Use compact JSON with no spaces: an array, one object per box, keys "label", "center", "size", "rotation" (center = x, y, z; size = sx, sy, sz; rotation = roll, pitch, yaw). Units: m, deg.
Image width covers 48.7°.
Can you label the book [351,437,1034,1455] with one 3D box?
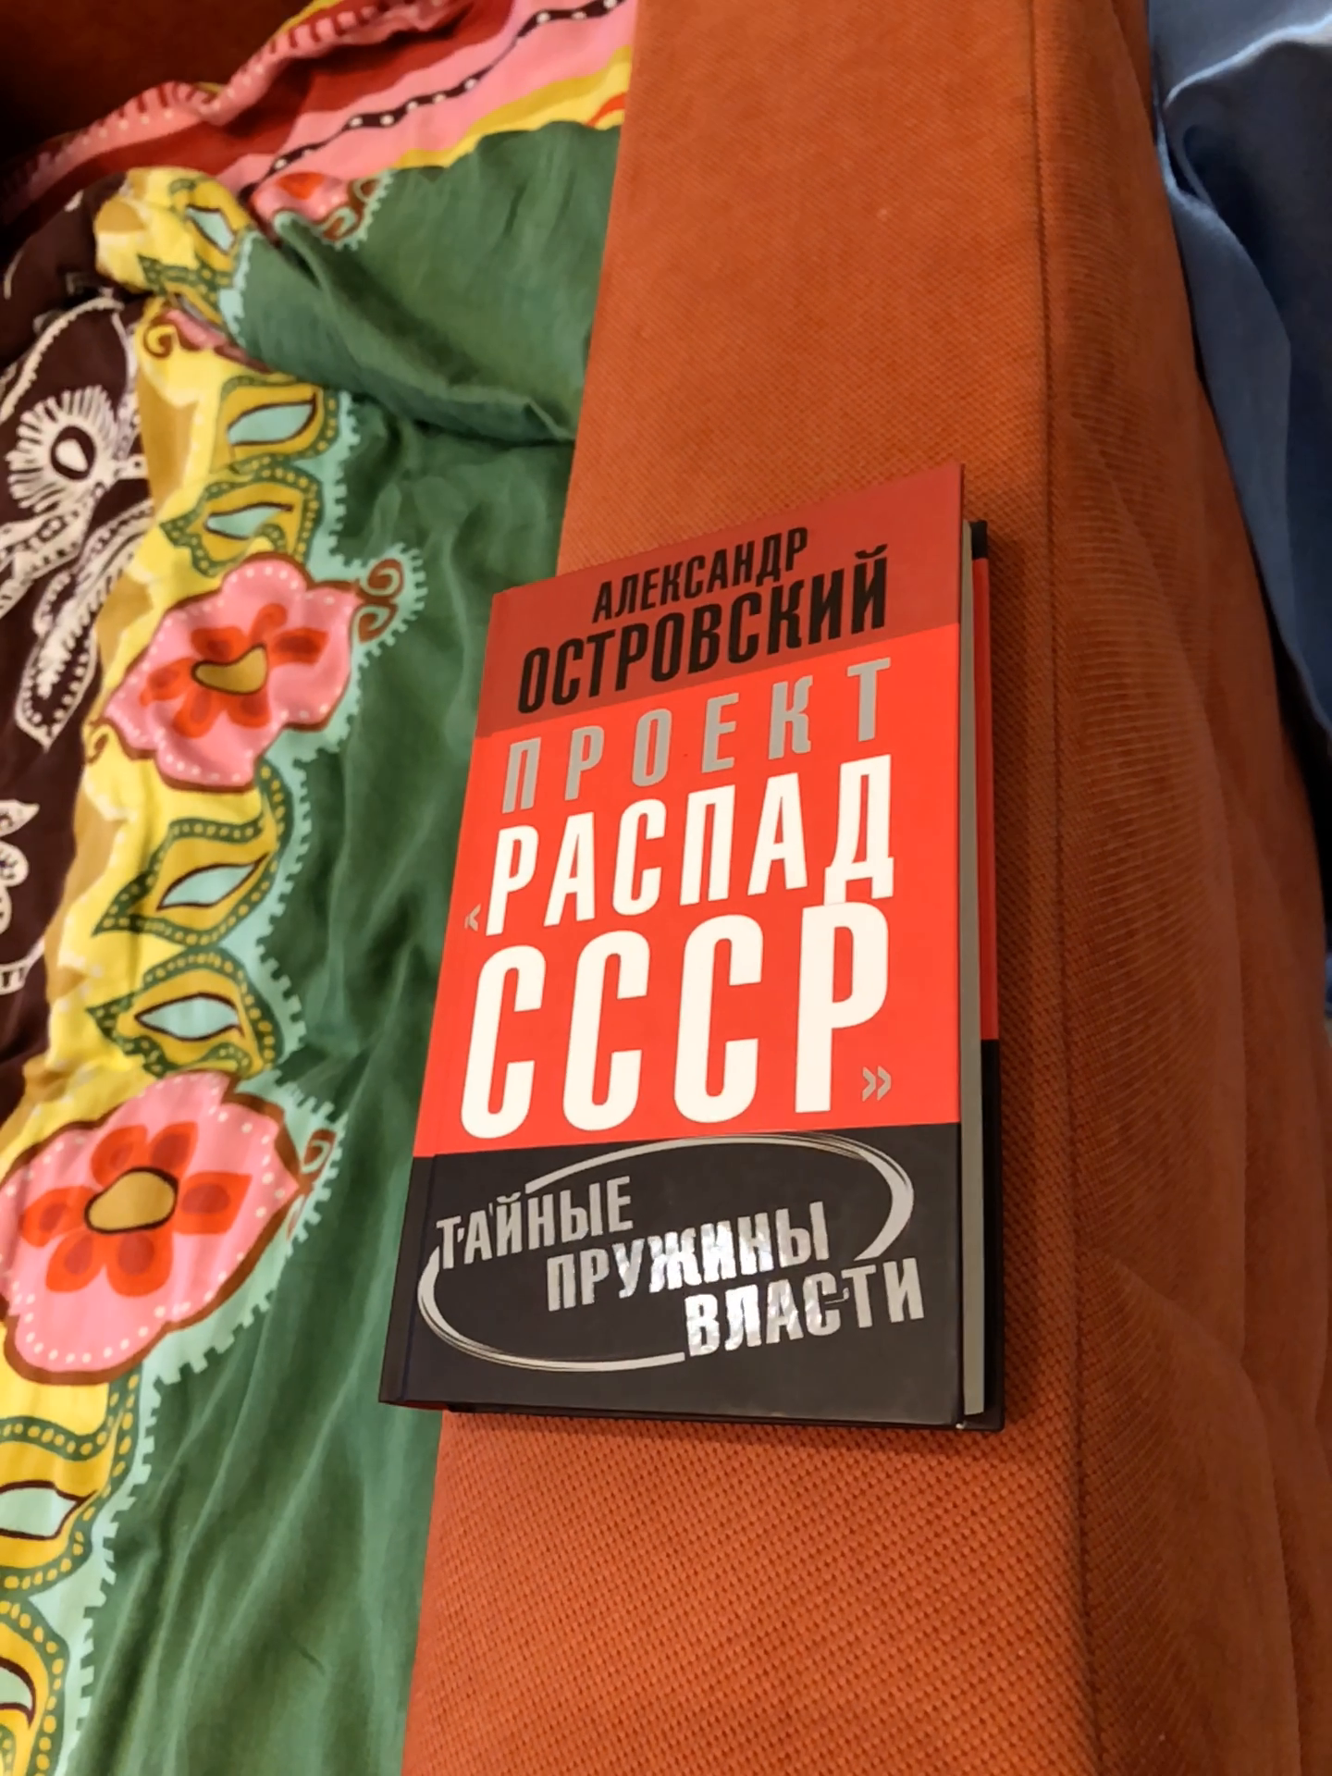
[{"label":"book","center":[0.008,0.011,0.326],"size":[0.135,0.030,0.207],"rotation":[-9,64,29]}]
